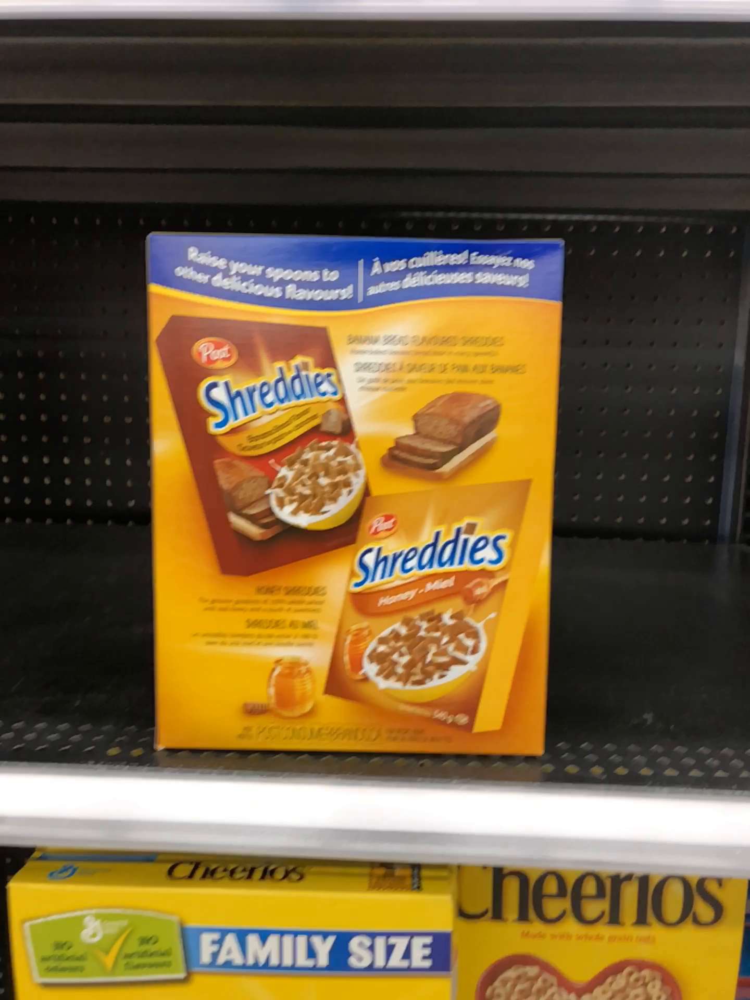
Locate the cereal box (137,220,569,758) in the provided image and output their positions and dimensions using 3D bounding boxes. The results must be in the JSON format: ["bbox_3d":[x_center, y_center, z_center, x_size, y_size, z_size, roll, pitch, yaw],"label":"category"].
[{"bbox_3d":[-0.013,-0.004,0.449,0.210,0.269,0.060,1,7,0],"label":"cereal box"}]
